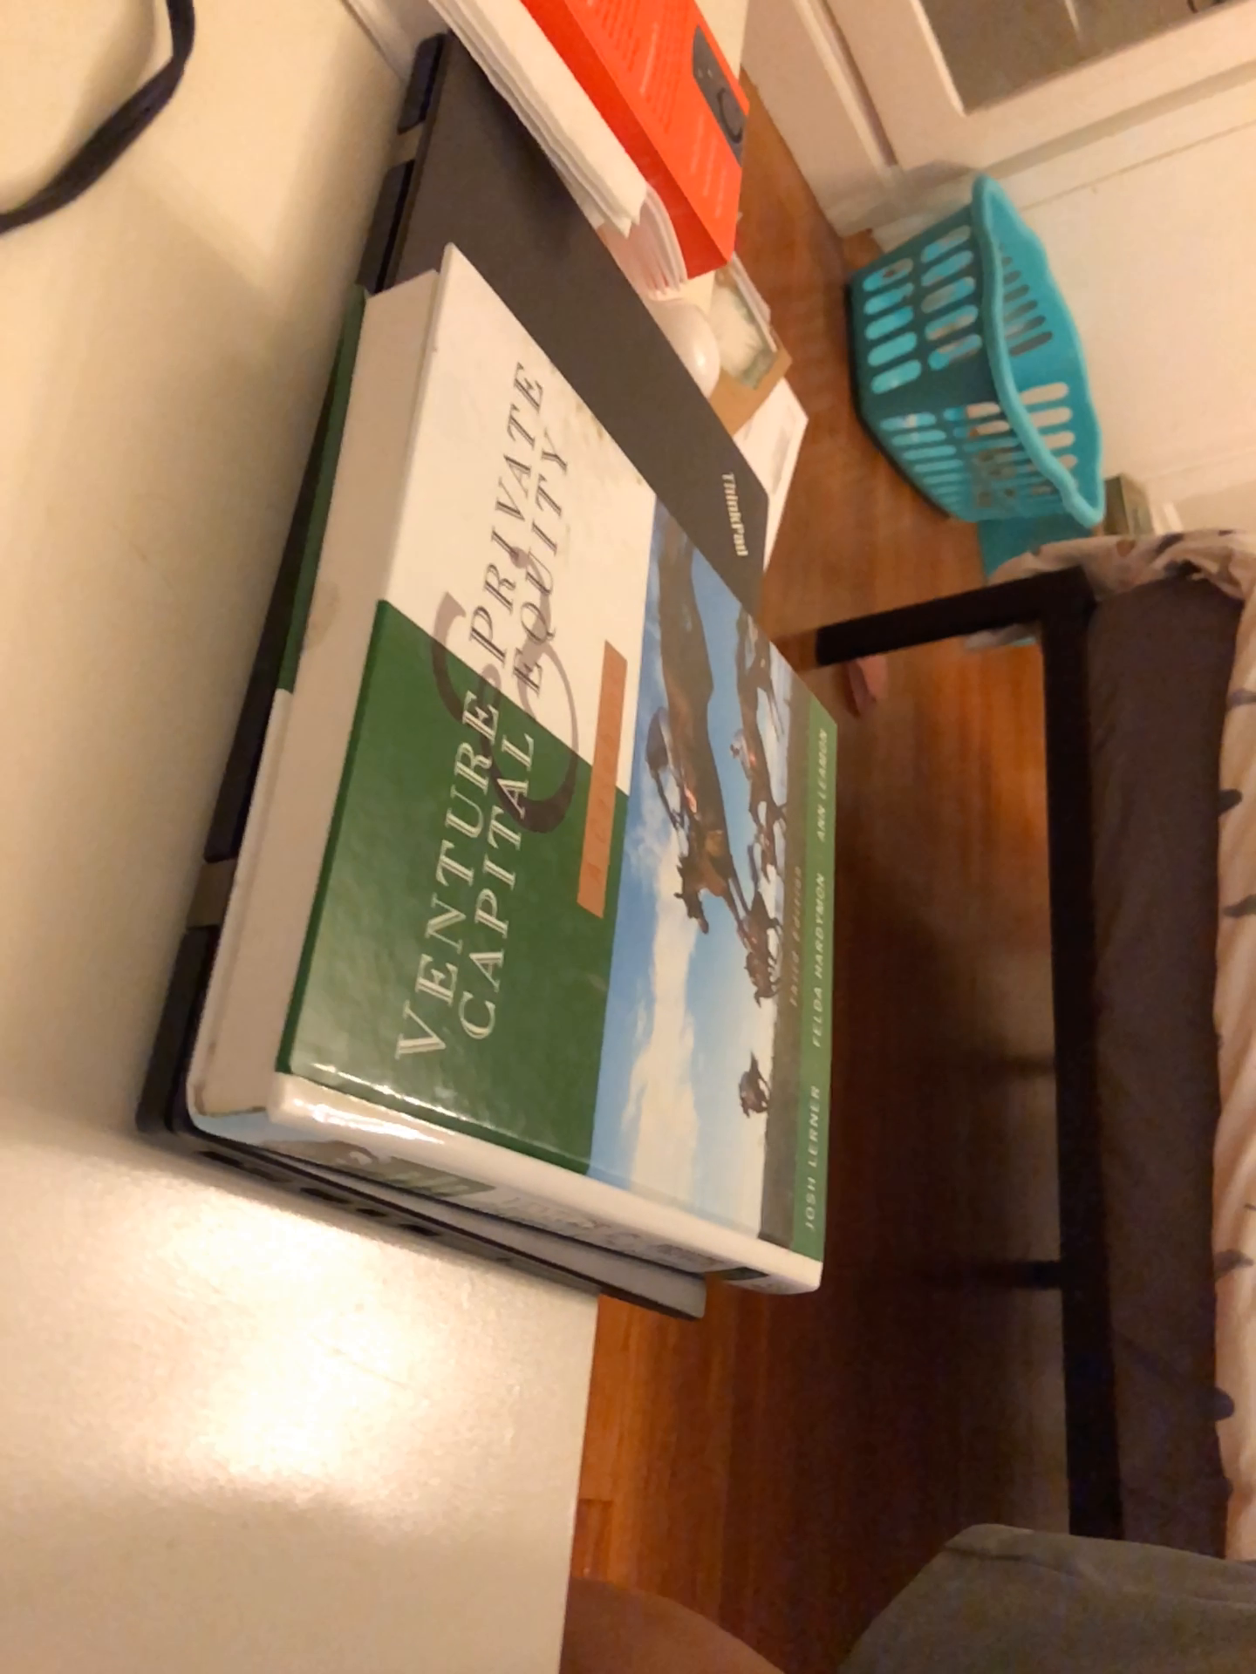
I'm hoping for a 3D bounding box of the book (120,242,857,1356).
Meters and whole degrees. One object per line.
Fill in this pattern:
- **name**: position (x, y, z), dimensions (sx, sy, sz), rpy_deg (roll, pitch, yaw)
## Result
- **book**: position (-0.001, 0.016, 0.391), dimensions (0.271, 0.030, 0.220), rpy_deg (38, 50, -51)
